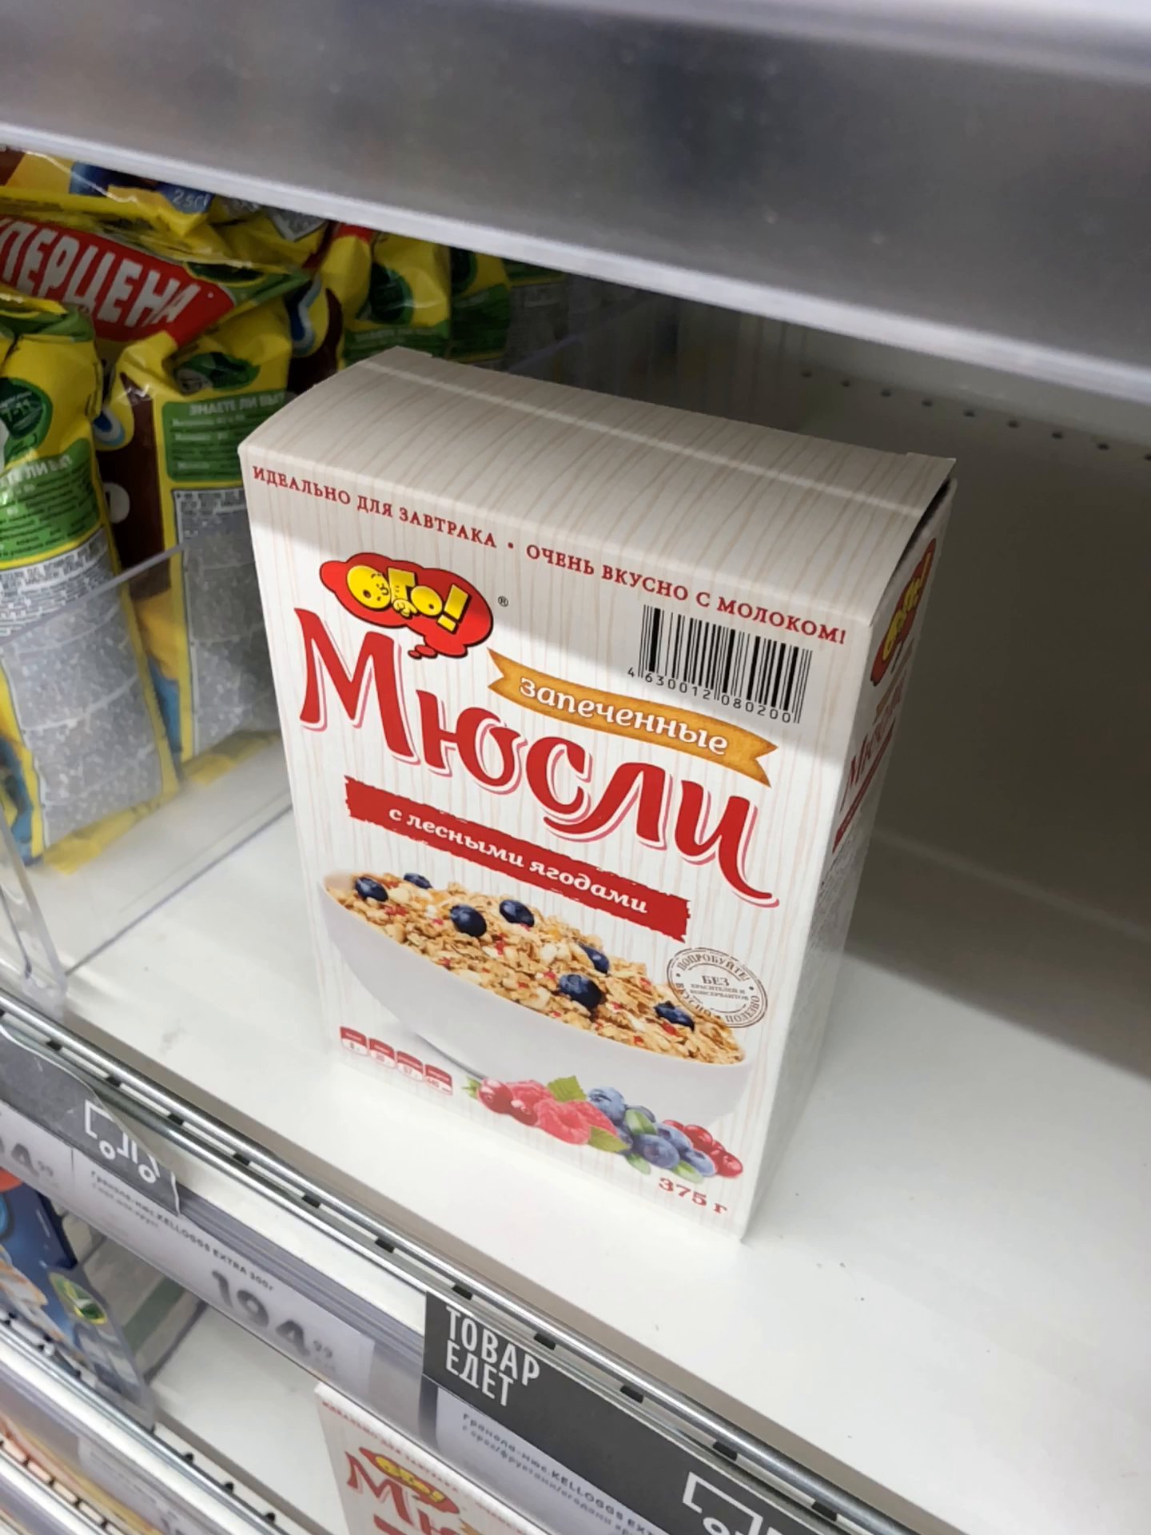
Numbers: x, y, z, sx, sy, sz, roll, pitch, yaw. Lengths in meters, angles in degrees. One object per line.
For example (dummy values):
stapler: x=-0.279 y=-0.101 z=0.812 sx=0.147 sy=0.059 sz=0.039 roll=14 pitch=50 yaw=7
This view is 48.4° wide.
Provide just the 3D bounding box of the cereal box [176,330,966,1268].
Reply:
cereal box: x=-0.003 y=0.015 z=0.310 sx=0.140 sy=0.199 sz=0.060 roll=18 pitch=43 yaw=20
